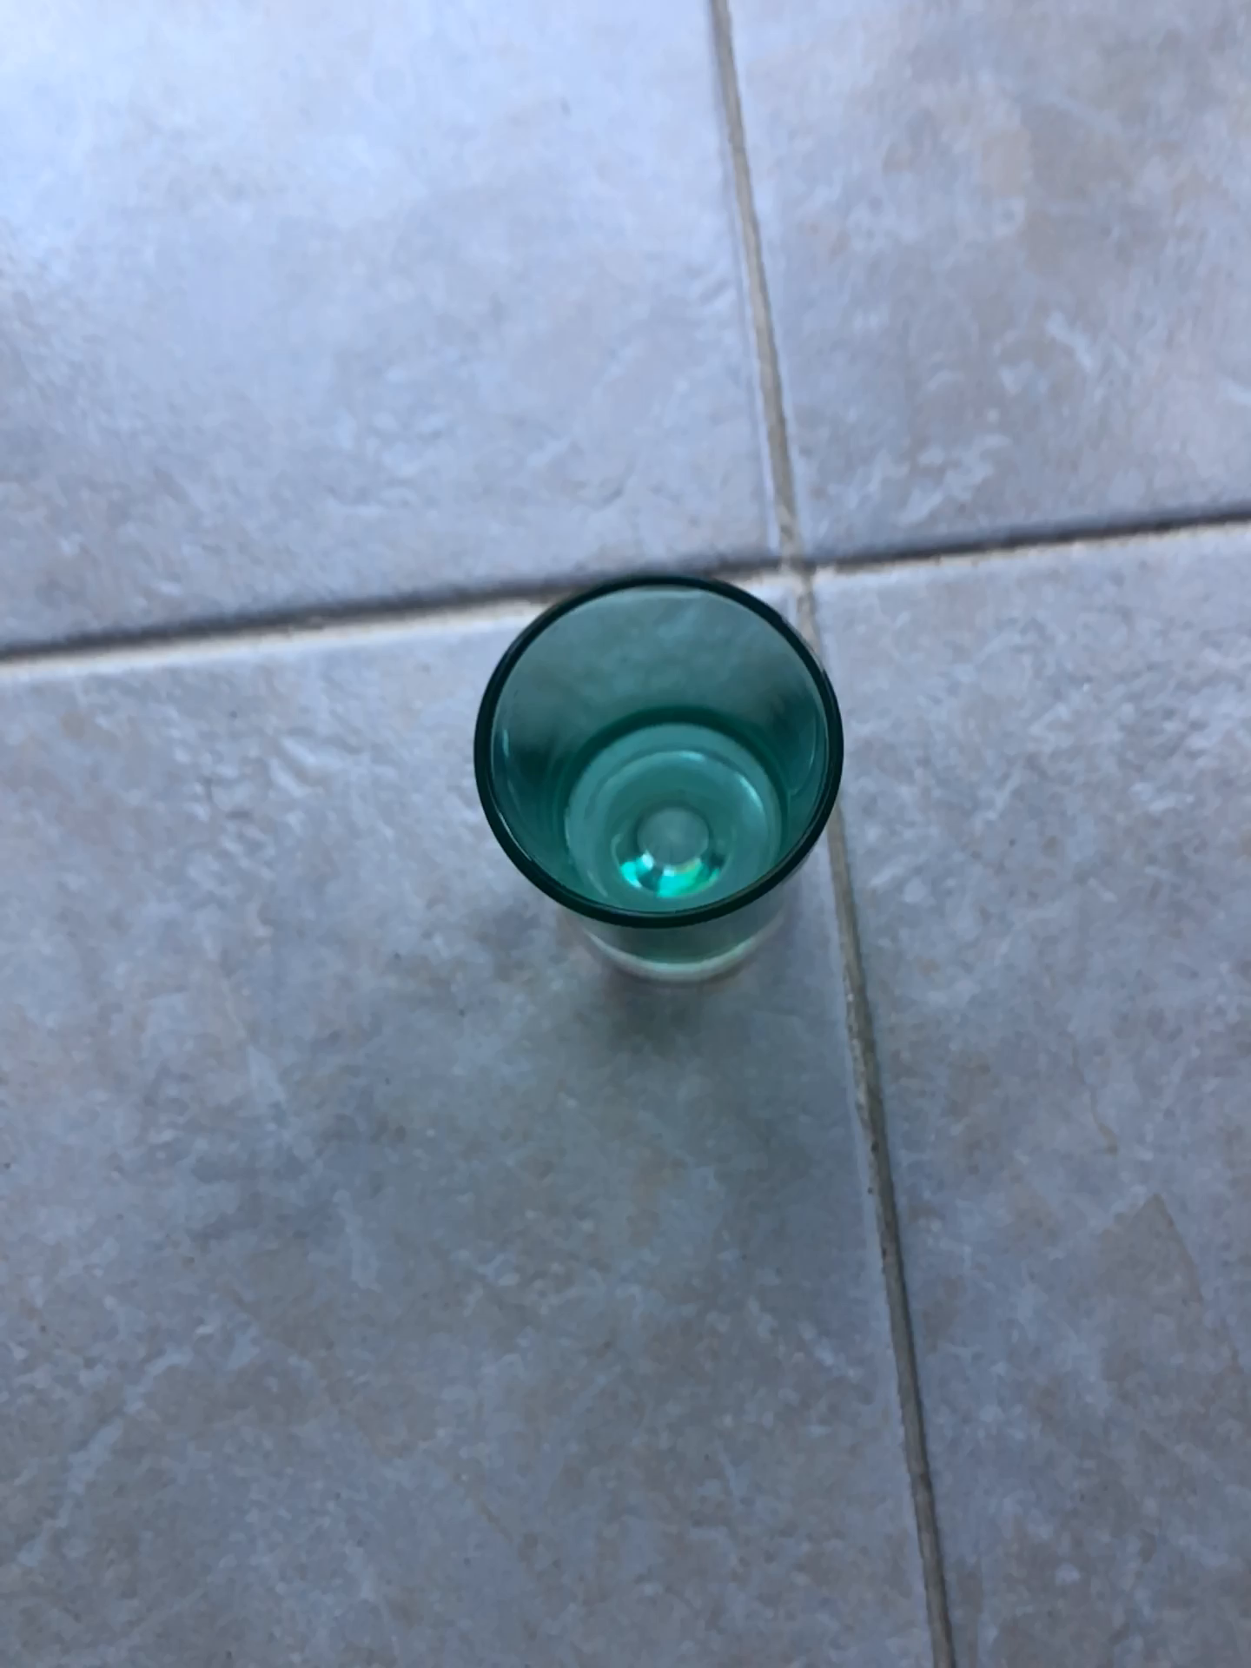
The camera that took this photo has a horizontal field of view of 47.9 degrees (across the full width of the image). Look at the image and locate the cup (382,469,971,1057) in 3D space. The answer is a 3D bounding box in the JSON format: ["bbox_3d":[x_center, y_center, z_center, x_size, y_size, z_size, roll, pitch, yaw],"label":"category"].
[{"bbox_3d":[0.007,-0.003,0.183,0.045,0.068,0.044,-1,80,4],"label":"cup"}]
